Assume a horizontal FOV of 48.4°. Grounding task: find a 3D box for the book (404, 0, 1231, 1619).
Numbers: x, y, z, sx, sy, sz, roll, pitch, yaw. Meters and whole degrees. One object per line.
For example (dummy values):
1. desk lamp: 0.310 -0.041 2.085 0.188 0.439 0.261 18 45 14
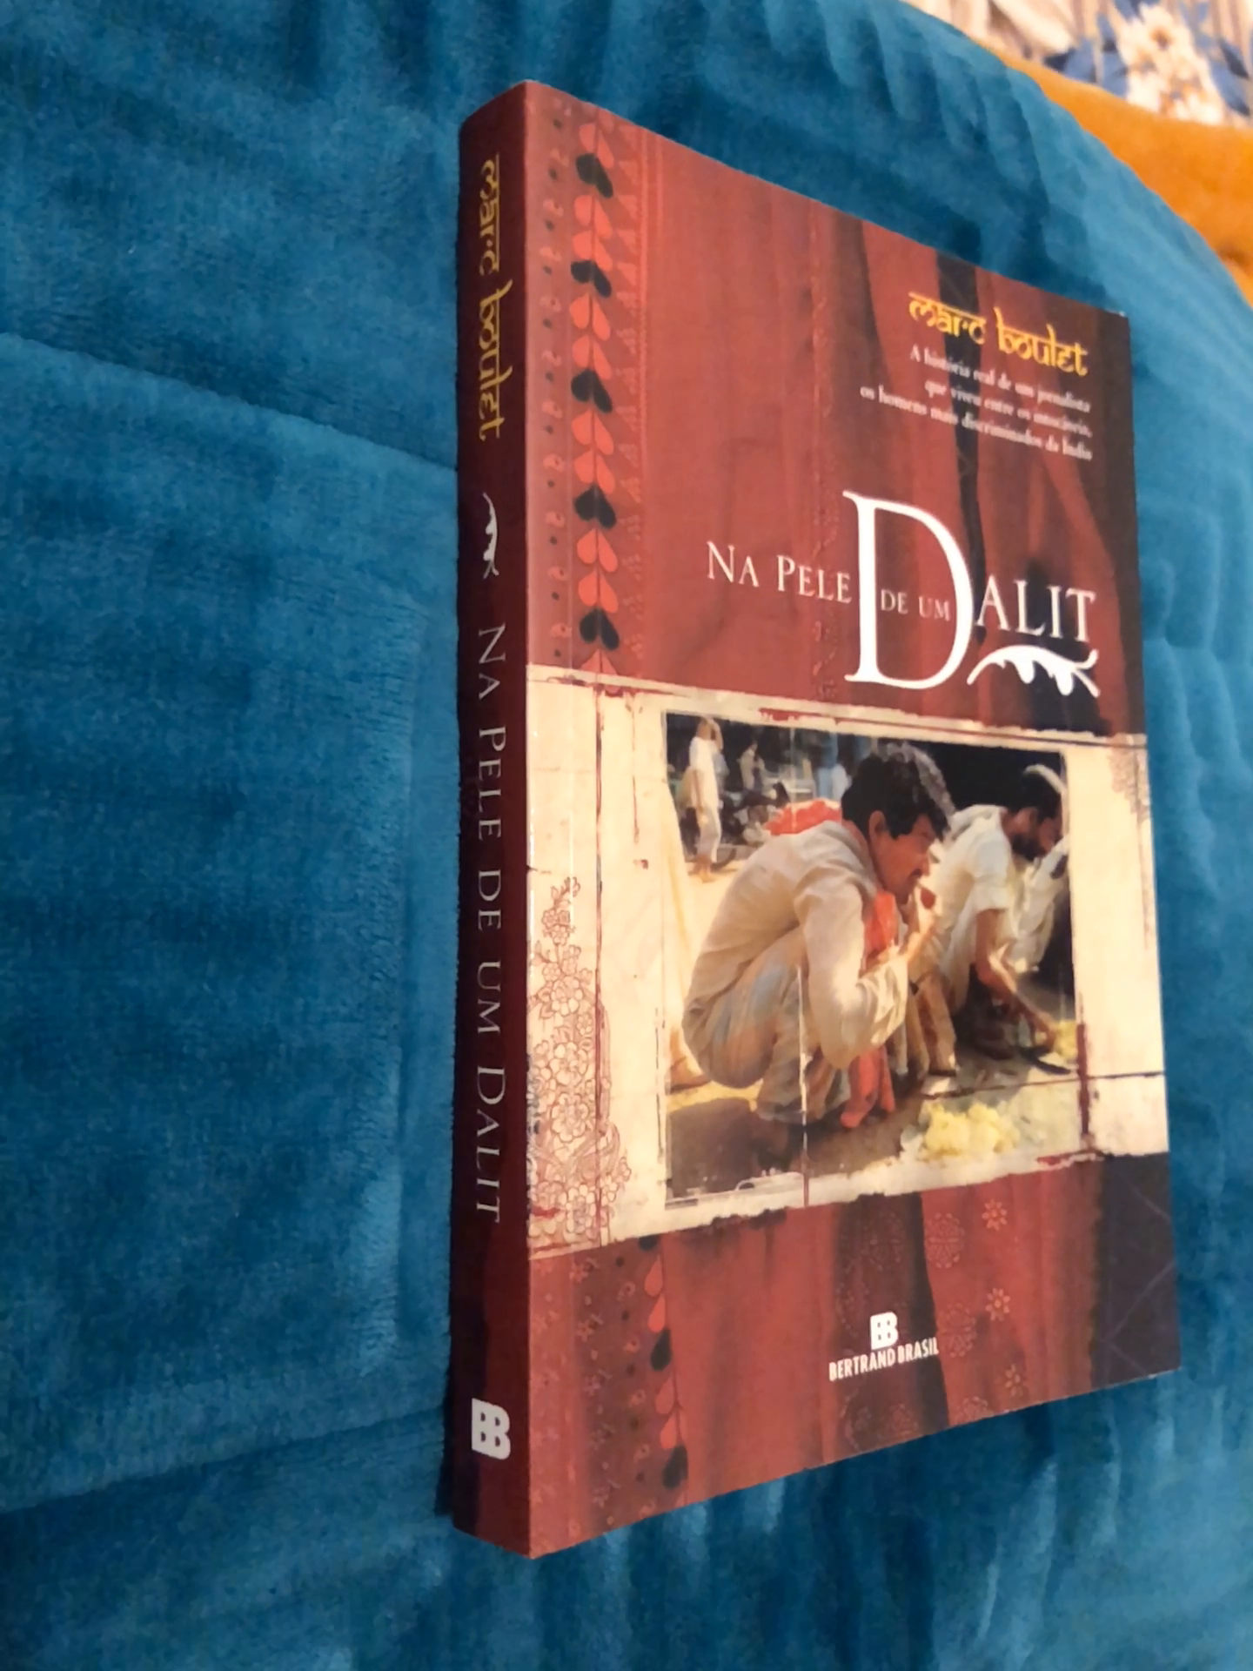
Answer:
1. book: 0.041 -0.005 0.246 0.161 0.030 0.220 2 85 -34
